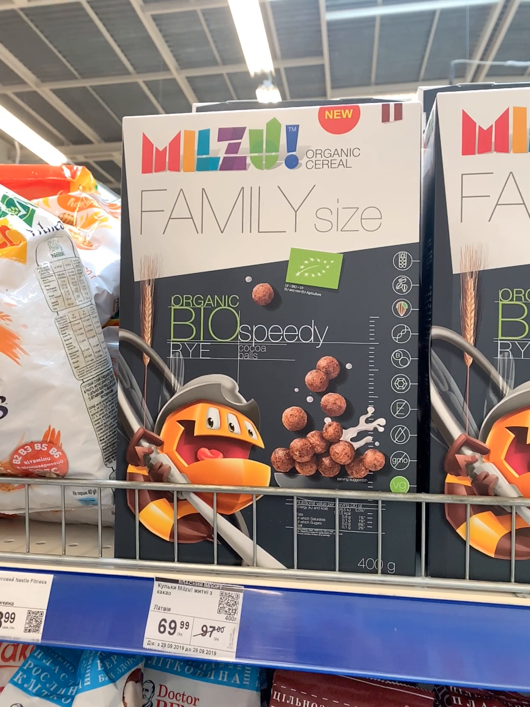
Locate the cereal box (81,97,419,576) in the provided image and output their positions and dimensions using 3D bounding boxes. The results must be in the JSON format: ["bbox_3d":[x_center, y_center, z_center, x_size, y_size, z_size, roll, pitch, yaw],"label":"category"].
[{"bbox_3d":[-0.009,-0.012,0.363,0.200,0.270,0.080,1,1,8],"label":"cereal box"}]
